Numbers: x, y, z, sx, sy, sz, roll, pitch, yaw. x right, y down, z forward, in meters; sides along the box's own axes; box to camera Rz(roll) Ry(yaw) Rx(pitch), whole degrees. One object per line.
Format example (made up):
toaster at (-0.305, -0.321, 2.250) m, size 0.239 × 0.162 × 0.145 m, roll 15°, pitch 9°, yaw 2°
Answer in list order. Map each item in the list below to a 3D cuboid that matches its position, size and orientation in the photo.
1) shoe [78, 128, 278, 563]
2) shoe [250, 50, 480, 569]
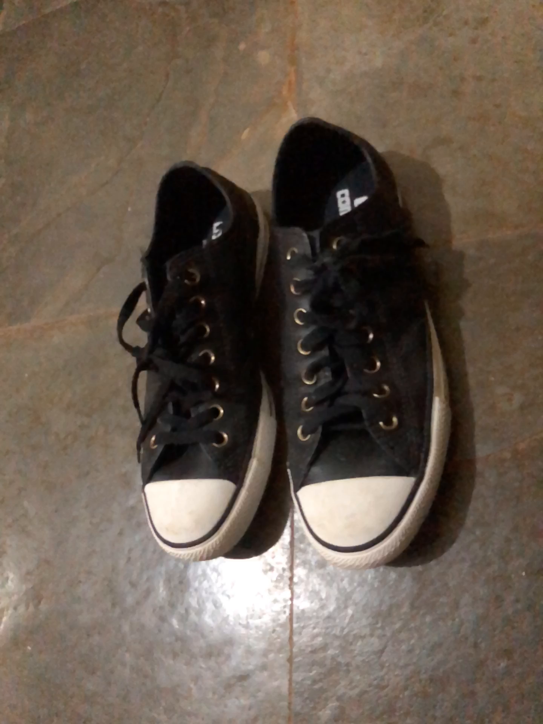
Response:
shoe at (-0.058, -0.009, 0.434) m, size 0.100 × 0.080 × 0.291 m, roll -8°, pitch 70°, yaw 24°
shoe at (0.055, -0.032, 0.389) m, size 0.110 × 0.080 × 0.311 m, roll -8°, pitch 70°, yaw 24°
